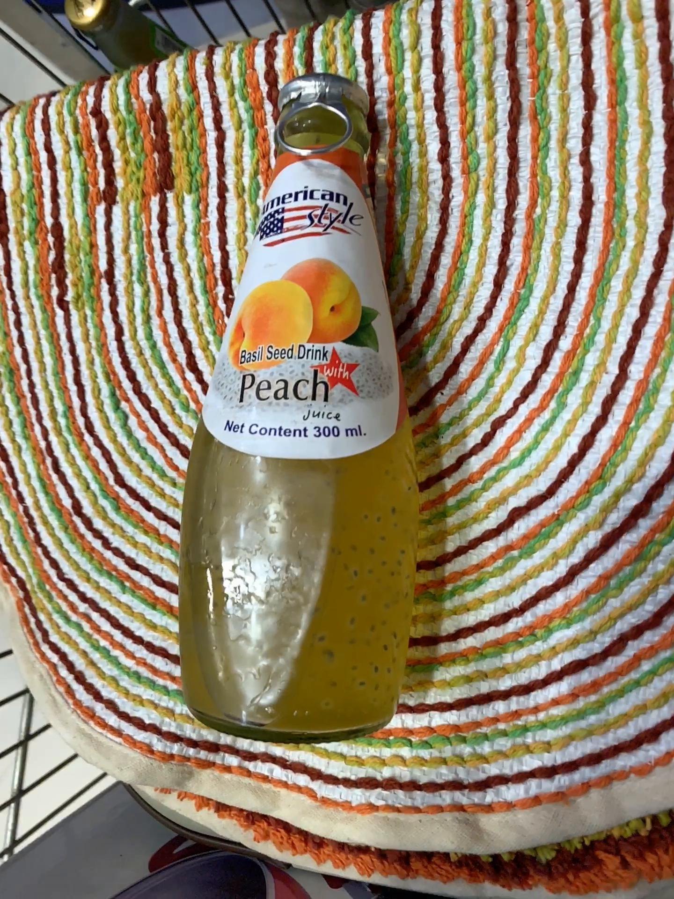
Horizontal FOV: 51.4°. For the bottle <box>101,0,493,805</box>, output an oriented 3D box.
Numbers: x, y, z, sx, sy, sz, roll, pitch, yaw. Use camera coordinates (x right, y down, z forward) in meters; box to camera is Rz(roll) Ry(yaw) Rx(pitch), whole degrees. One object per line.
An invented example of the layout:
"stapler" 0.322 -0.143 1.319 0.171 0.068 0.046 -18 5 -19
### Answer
"bottle" -0.004 -0.021 0.197 0.070 0.060 0.200 6 79 2
